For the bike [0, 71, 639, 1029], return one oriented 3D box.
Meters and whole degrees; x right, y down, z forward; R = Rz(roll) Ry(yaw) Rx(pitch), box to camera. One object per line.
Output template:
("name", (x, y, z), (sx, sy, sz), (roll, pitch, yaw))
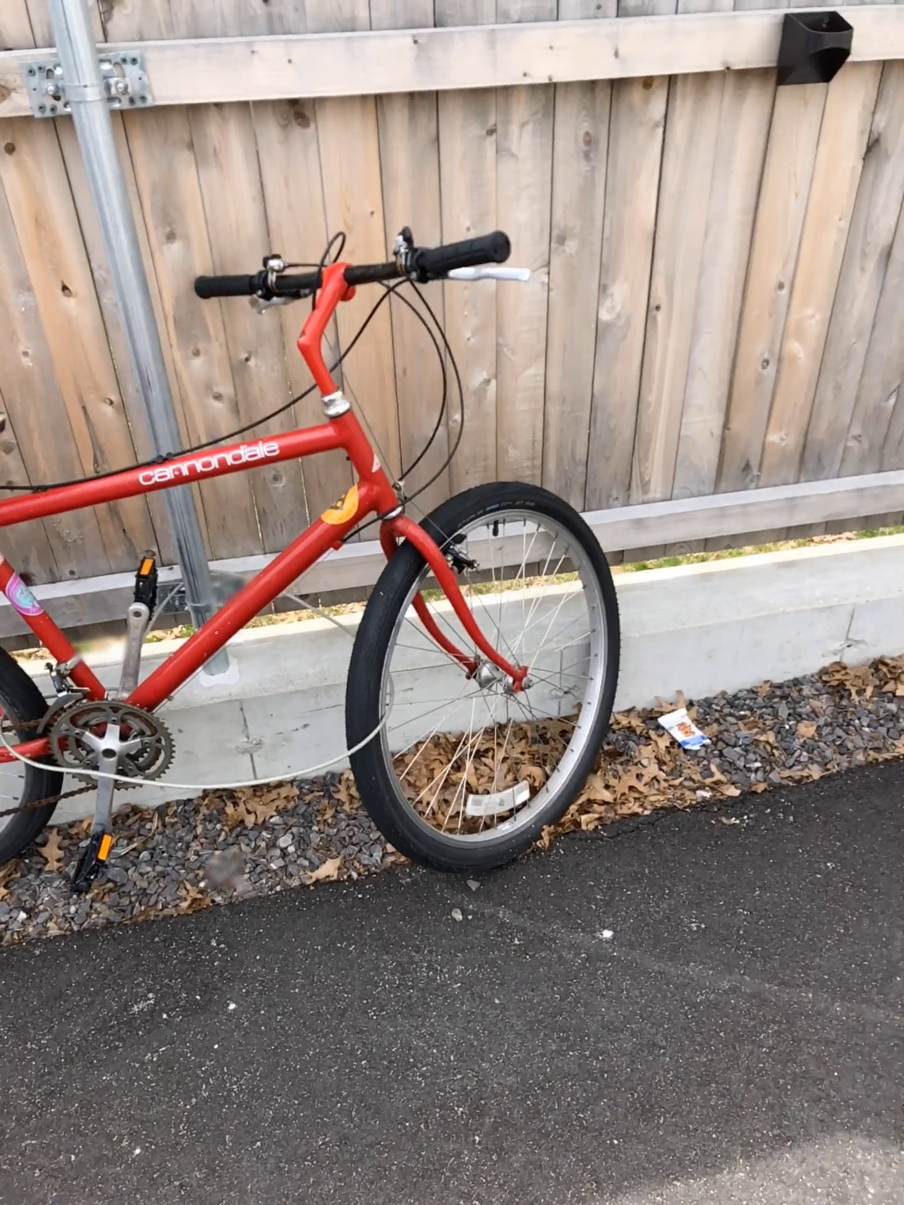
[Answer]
("bike", (-0.508, -0.112, 1.521), (1.474, 1.001, 0.596), (-11, 35, -7))
